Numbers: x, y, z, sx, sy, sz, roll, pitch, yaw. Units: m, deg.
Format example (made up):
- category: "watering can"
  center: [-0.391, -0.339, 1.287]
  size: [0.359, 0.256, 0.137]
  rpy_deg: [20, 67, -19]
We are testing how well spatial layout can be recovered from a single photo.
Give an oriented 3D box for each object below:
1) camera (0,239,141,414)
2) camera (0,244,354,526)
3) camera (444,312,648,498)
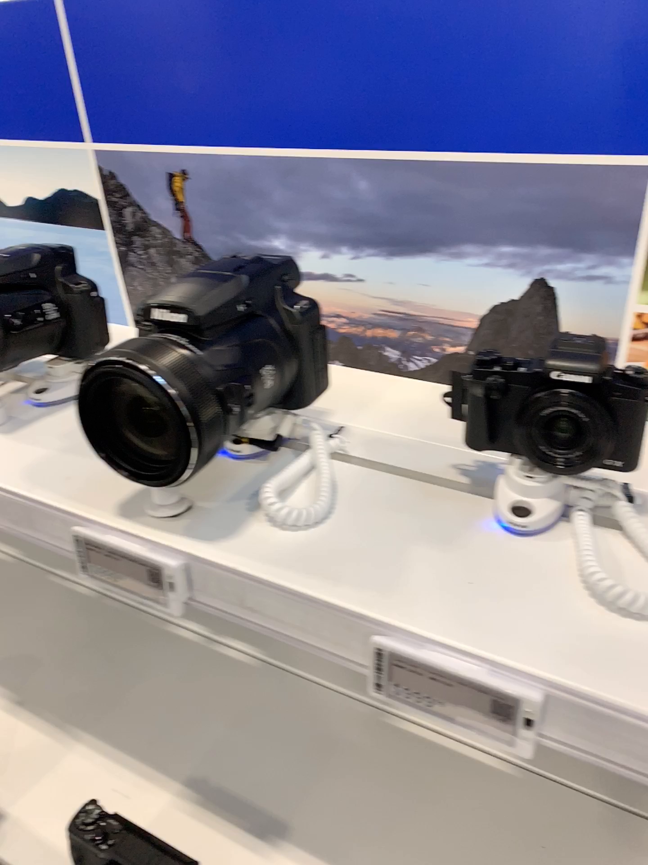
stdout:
- category: "camera"
  center: [-0.285, -0.105, 0.601]
  size: [0.160, 0.099, 0.151]
  rpy_deg: [12, 29, 25]
- category: "camera"
  center: [-0.097, -0.055, 0.480]
  size: [0.160, 0.109, 0.221]
  rpy_deg: [12, 29, 24]
- category: "camera"
  center: [0.148, -0.022, 0.436]
  size: [0.120, 0.089, 0.060]
  rpy_deg: [10, 28, 21]
